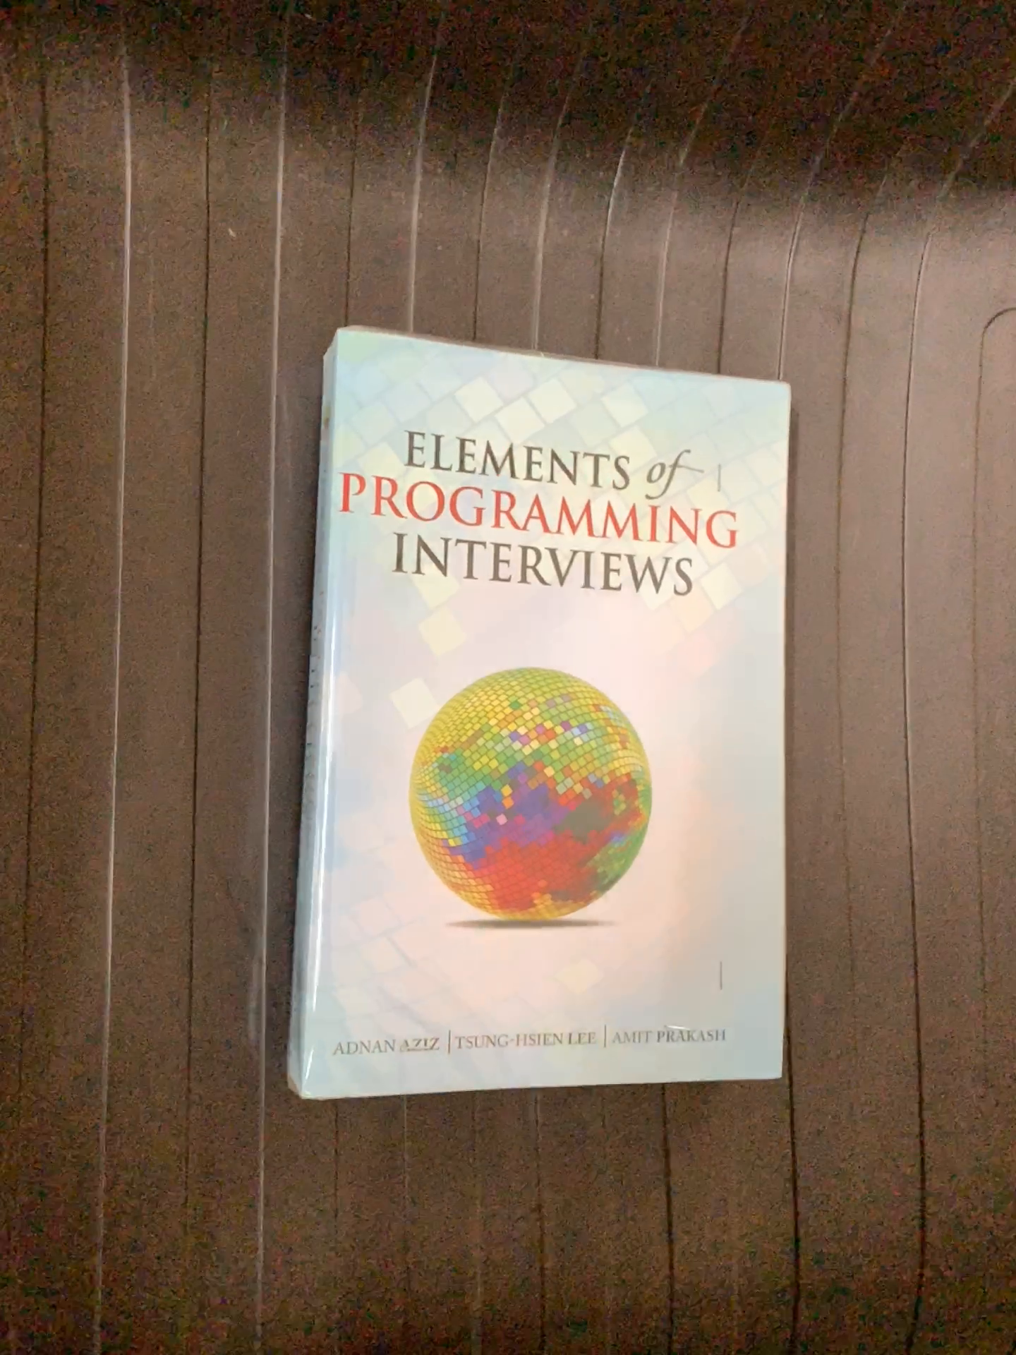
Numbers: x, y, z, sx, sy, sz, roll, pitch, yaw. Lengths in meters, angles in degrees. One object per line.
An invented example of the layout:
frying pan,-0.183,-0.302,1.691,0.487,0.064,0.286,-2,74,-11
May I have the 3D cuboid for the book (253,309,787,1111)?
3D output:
book,0.006,0.012,0.346,0.160,0.050,0.230,3,85,-15
